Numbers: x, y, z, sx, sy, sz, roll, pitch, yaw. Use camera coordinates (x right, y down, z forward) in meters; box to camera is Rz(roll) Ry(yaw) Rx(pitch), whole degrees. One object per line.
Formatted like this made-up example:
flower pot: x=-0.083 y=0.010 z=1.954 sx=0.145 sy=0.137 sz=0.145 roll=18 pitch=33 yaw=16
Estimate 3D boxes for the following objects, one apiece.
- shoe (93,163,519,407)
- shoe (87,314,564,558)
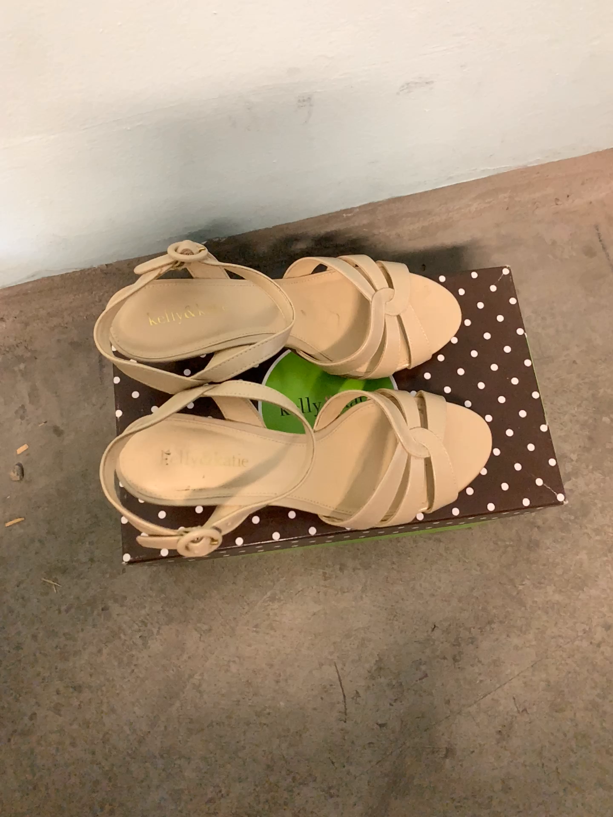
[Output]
shoe: x=-0.004 y=-0.077 z=0.421 sx=0.240 sy=0.110 sz=0.100 roll=-6 pitch=73 yaw=-3
shoe: x=0.006 y=0.023 z=0.382 sx=0.240 sy=0.110 sz=0.100 roll=-6 pitch=73 yaw=-3
